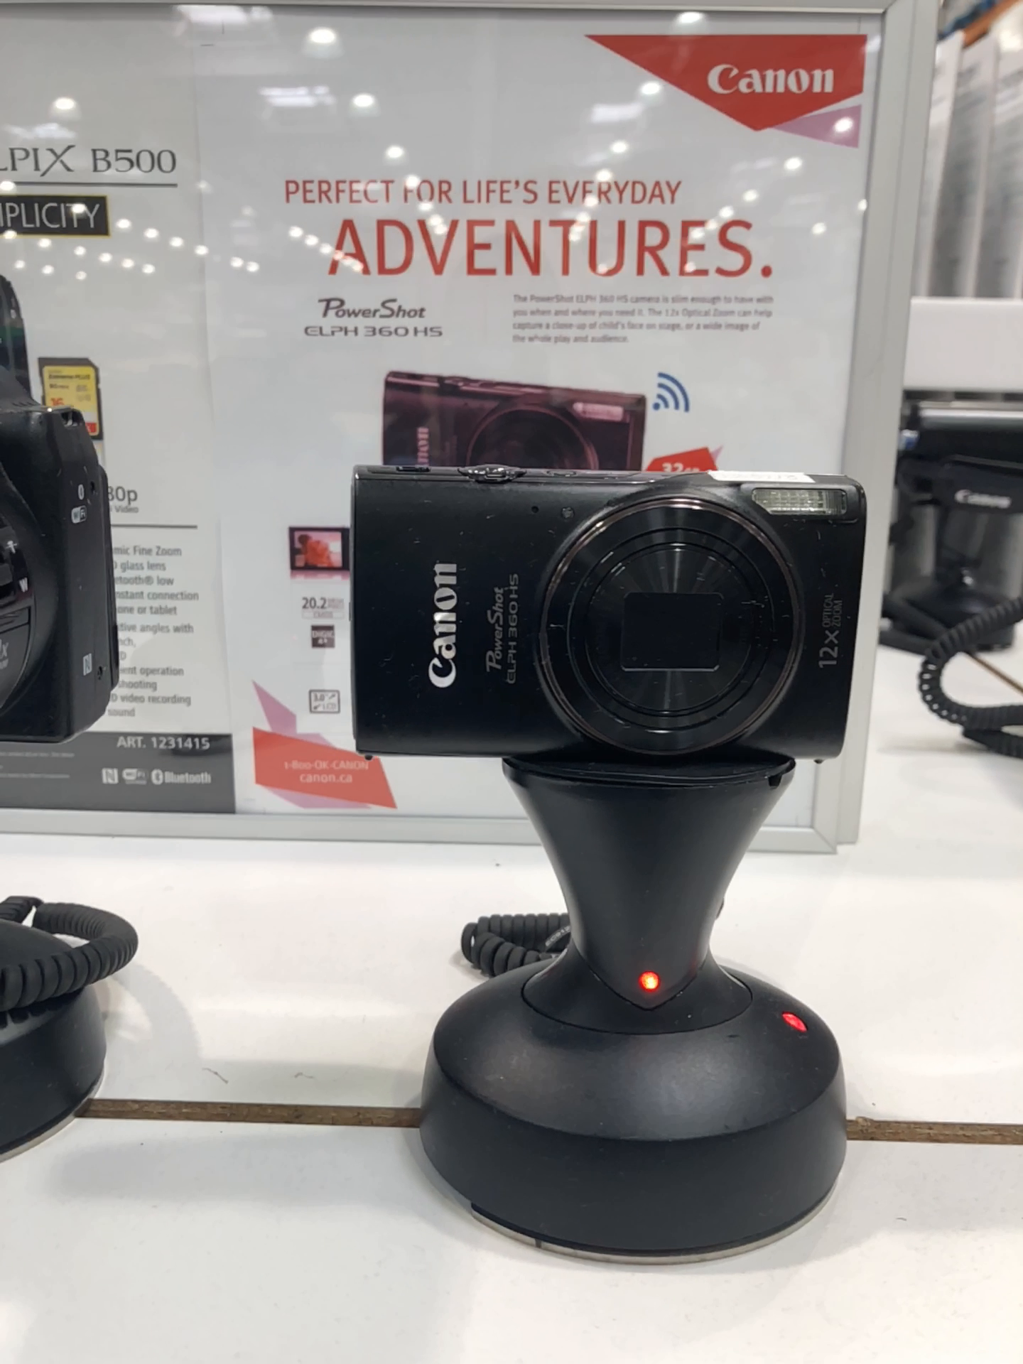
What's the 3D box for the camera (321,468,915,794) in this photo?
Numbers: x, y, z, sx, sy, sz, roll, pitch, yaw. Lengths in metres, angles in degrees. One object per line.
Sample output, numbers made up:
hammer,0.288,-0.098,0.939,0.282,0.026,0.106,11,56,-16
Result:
camera,0.019,-0.012,0.238,0.110,0.060,0.040,0,15,-2
